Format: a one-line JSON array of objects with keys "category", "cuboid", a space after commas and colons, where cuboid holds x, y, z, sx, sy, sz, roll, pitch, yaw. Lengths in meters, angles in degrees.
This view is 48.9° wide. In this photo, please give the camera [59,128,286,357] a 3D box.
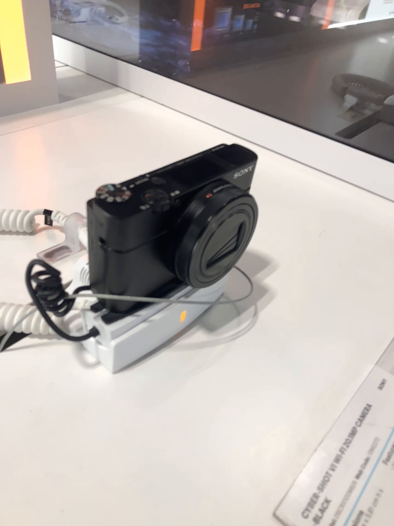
[{"category": "camera", "cuboid": [-0.008, -0.016, 0.222, 0.040, 0.070, 0.110, 32, 44, 28]}]
